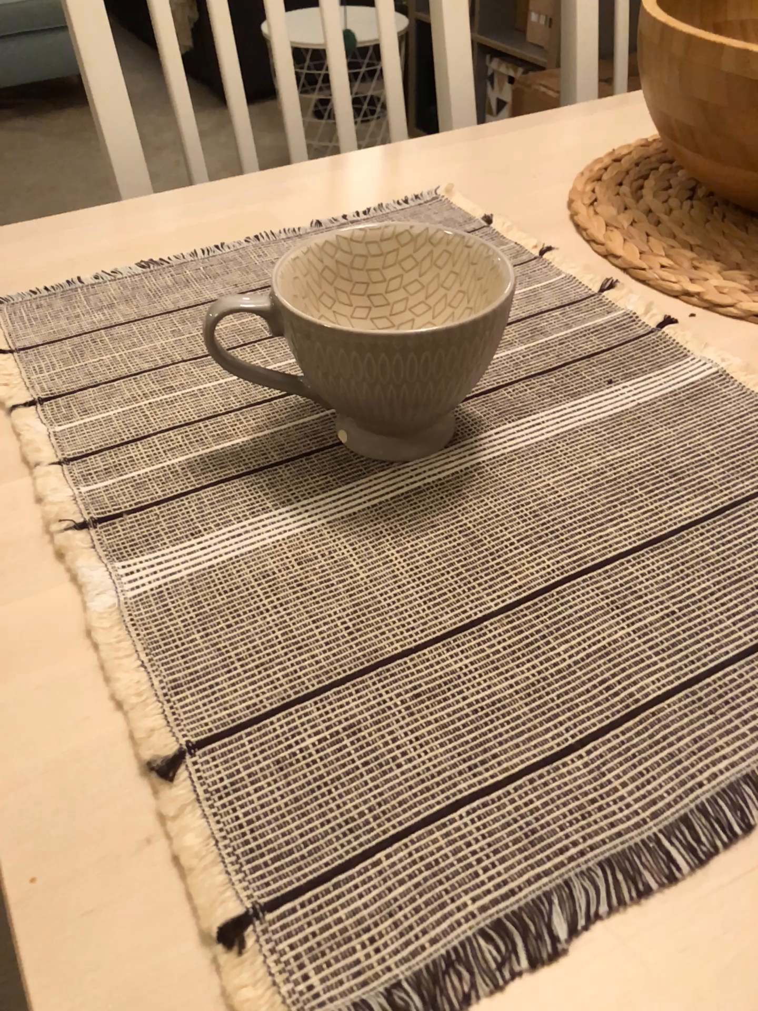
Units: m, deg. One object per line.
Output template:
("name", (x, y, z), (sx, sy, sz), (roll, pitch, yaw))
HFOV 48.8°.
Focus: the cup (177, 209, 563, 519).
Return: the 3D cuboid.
("cup", (-0.009, -0.073, 0.402), (0.150, 0.080, 0.111), (-11, 43, -11))
